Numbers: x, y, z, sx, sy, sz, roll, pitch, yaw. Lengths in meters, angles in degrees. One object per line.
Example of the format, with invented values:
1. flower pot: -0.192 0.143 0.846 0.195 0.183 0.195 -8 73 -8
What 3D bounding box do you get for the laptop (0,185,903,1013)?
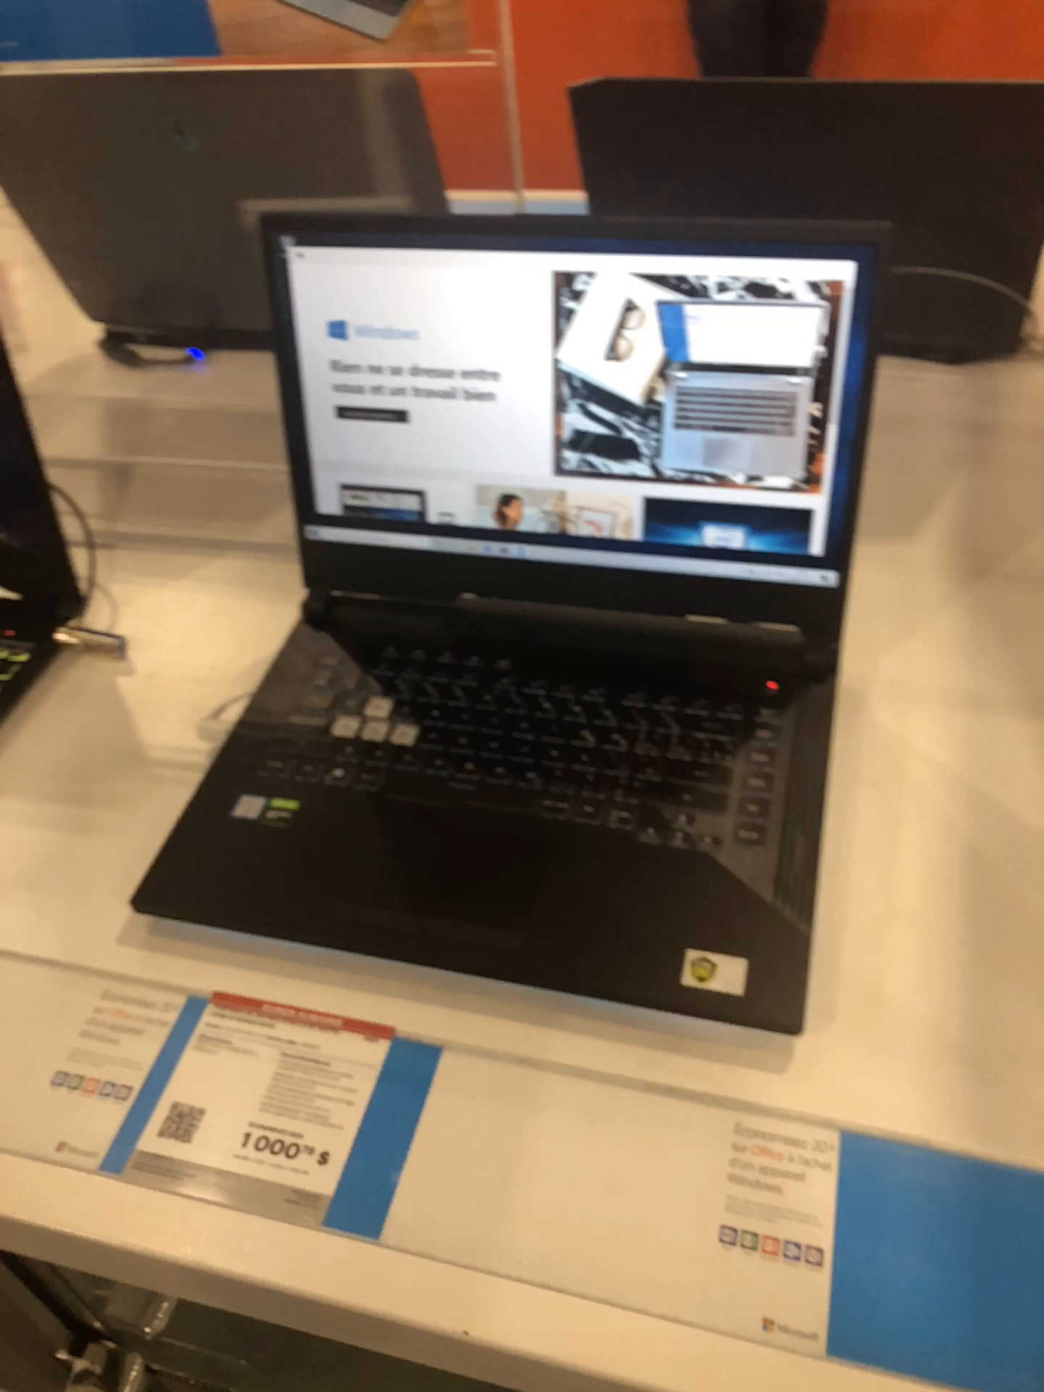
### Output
1. laptop: -0.005 -0.075 0.638 0.363 0.236 0.345 6 48 15
